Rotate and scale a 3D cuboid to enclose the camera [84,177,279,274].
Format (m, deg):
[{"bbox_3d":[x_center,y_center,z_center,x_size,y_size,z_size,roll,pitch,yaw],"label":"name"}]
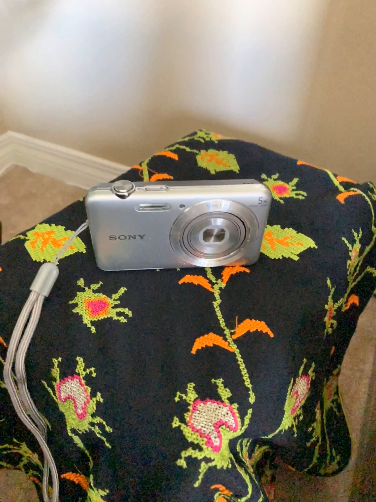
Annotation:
[{"bbox_3d":[-0.004,-0.012,0.194,0.086,0.042,0.020,-2,42,-4],"label":"camera"}]
